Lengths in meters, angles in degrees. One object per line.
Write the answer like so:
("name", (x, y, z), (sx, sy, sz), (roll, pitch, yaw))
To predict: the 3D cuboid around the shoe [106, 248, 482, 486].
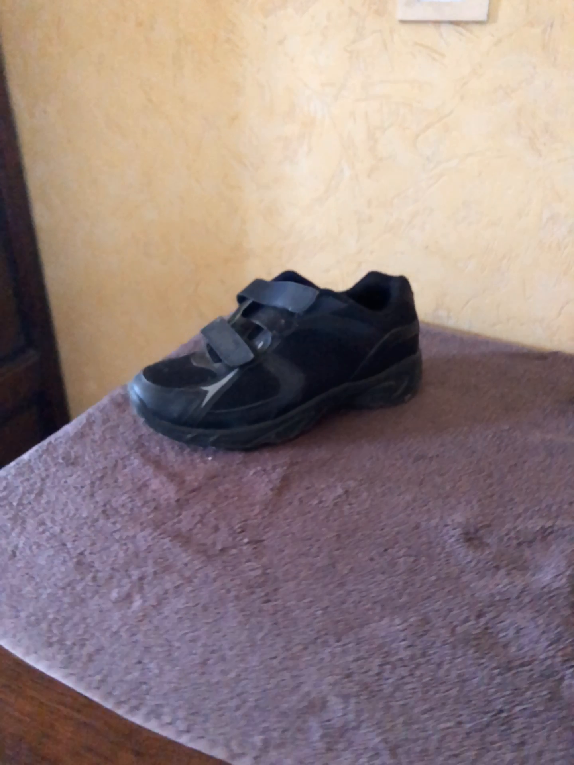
("shoe", (0.007, -0.025, 0.520), (0.271, 0.109, 0.110), (-12, 31, -21))
